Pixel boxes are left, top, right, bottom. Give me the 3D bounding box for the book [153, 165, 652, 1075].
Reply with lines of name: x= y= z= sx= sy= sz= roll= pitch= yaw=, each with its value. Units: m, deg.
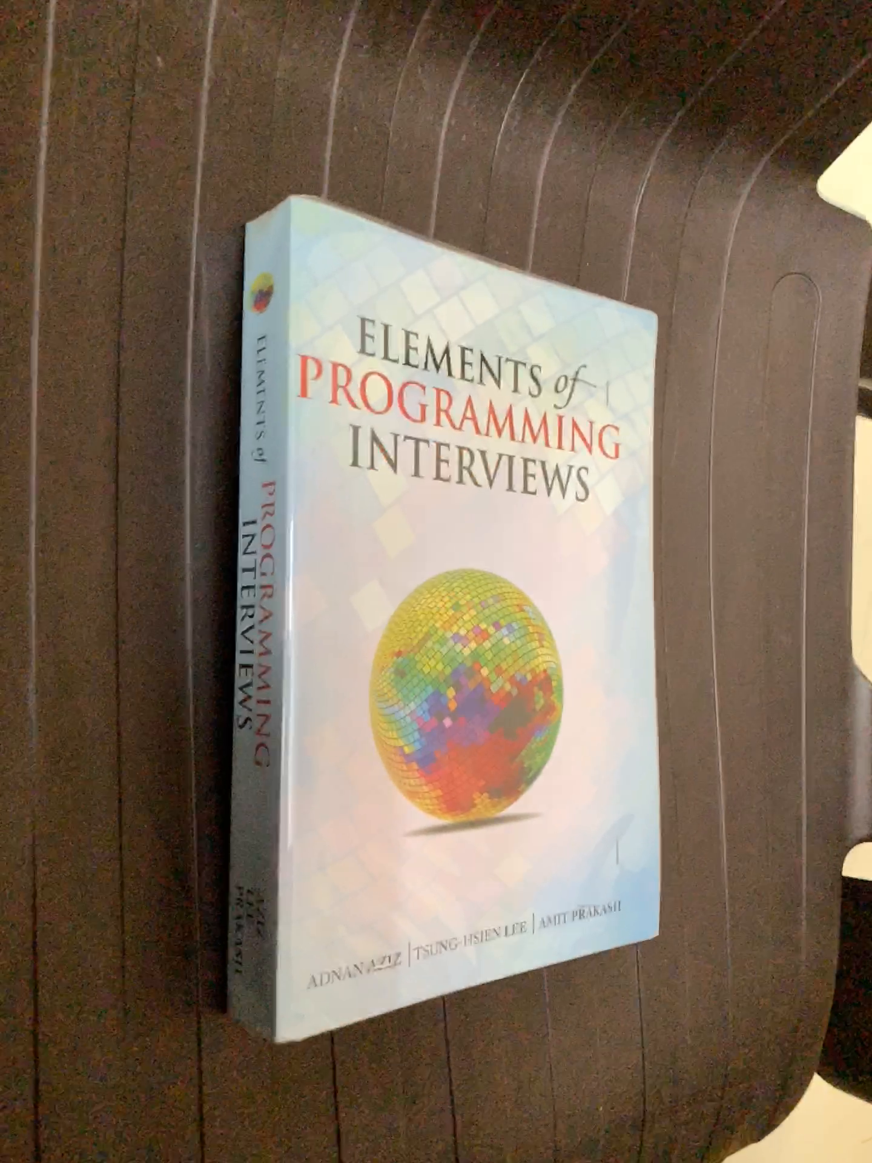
book: x=-0.001 y=0.011 z=0.297 sx=0.161 sy=0.050 sz=0.230 roll=4 pitch=85 yaw=-38
